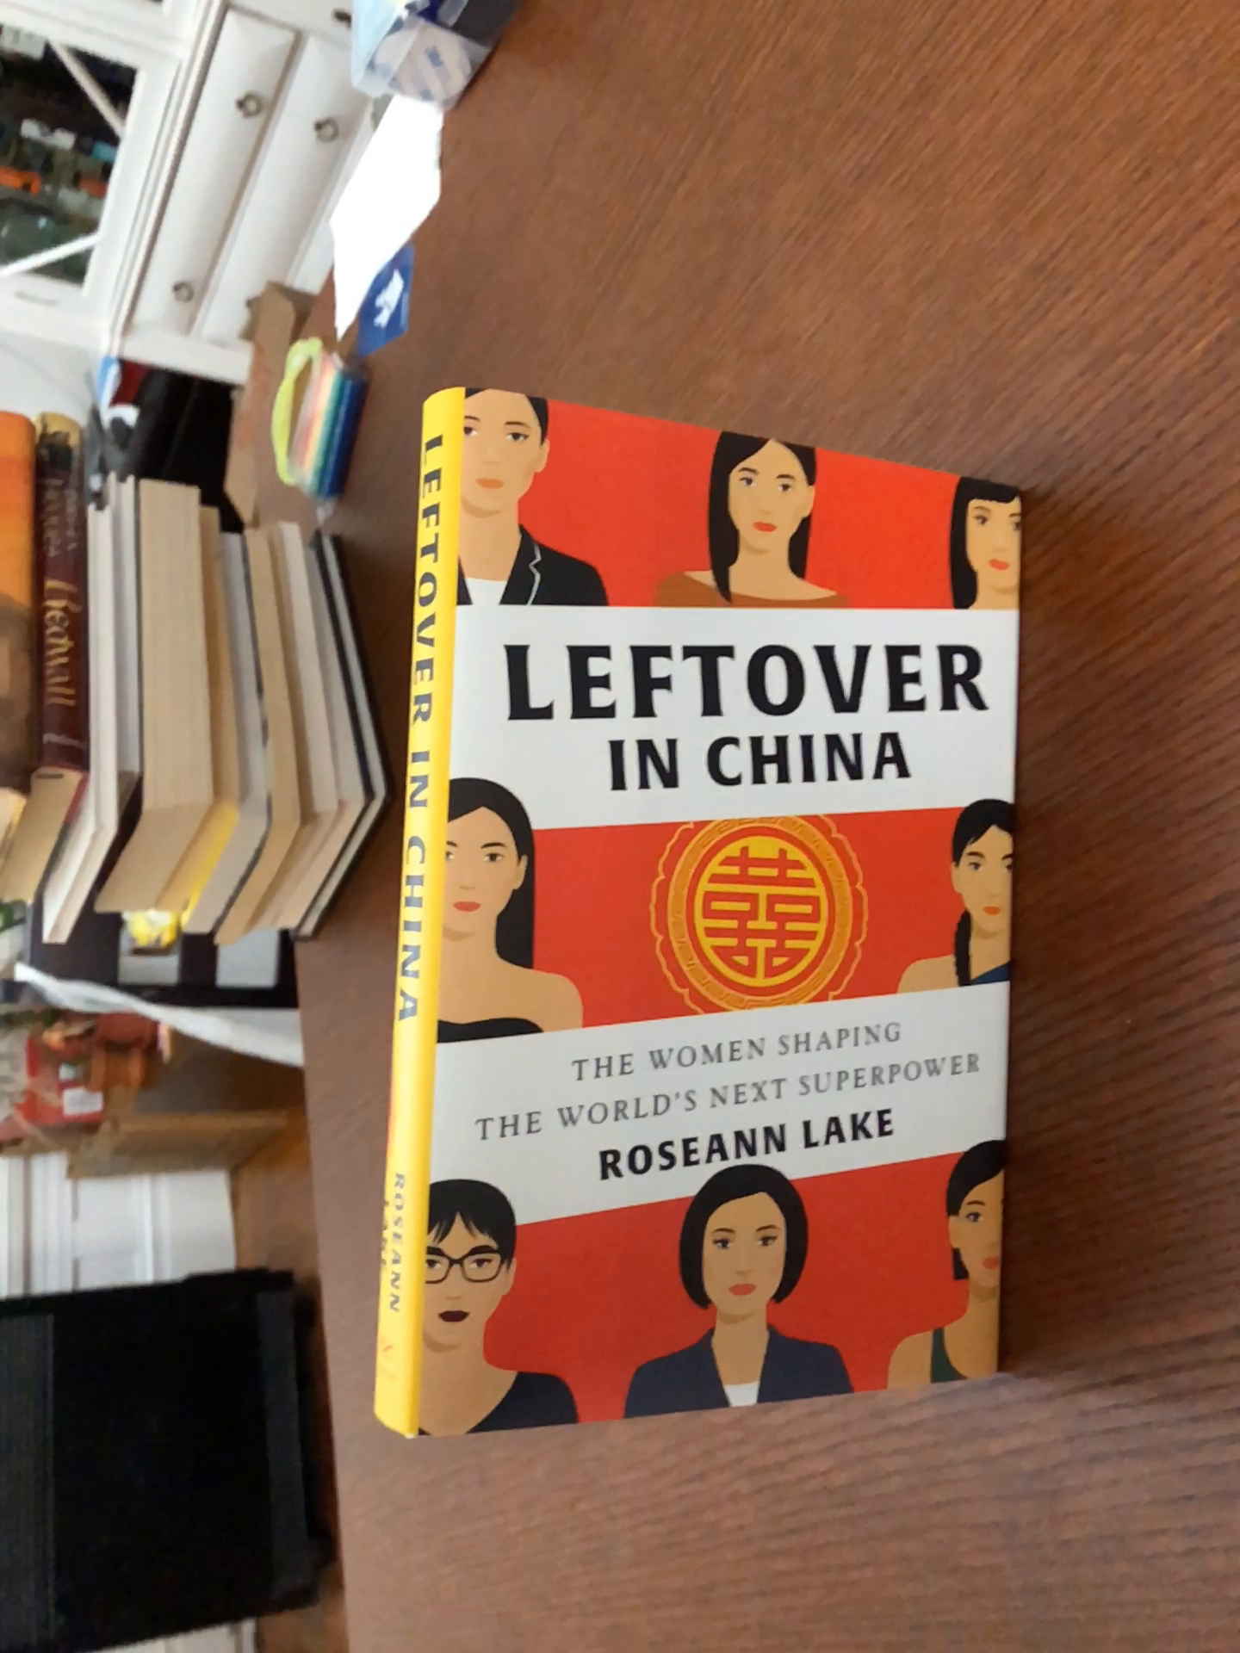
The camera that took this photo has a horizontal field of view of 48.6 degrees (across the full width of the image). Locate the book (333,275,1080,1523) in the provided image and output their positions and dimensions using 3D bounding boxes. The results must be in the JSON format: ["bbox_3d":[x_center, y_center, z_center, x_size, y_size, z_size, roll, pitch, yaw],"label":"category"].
[{"bbox_3d":[0.030,0.018,0.357,0.060,0.179,0.260,-2,84,60],"label":"book"}]
